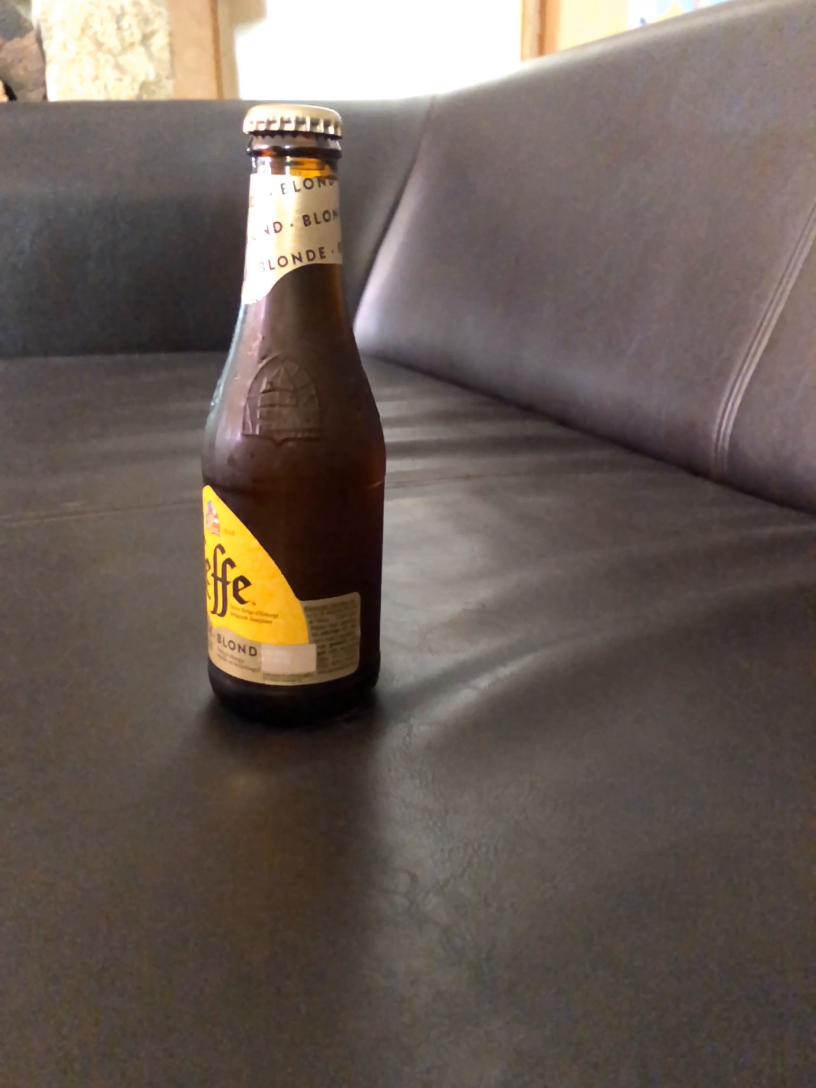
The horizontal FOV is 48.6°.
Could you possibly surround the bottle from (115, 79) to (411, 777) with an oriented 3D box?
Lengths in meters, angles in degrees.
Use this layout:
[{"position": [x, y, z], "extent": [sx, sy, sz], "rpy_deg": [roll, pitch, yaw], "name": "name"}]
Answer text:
[{"position": [-0.042, -0.033, 0.282], "extent": [0.060, 0.189, 0.060], "rpy_deg": [0, 18, 0], "name": "bottle"}]
